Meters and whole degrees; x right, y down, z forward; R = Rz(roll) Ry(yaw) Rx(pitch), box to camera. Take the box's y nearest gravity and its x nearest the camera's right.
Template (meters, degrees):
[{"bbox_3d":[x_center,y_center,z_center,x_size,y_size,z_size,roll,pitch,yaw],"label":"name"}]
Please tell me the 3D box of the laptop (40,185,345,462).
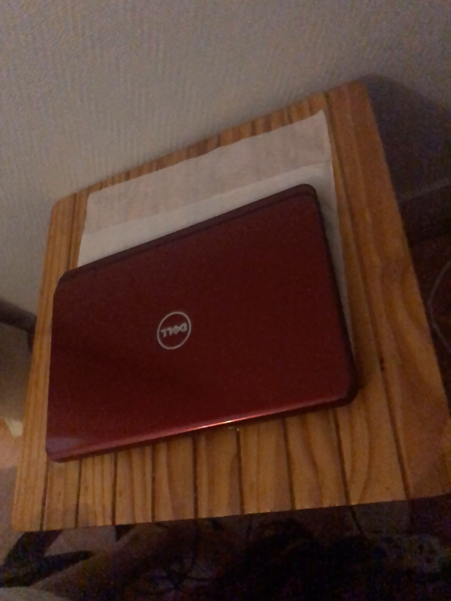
[{"bbox_3d":[-0.065,0.032,0.580,0.366,0.011,0.247,-17,62,22],"label":"laptop"}]
